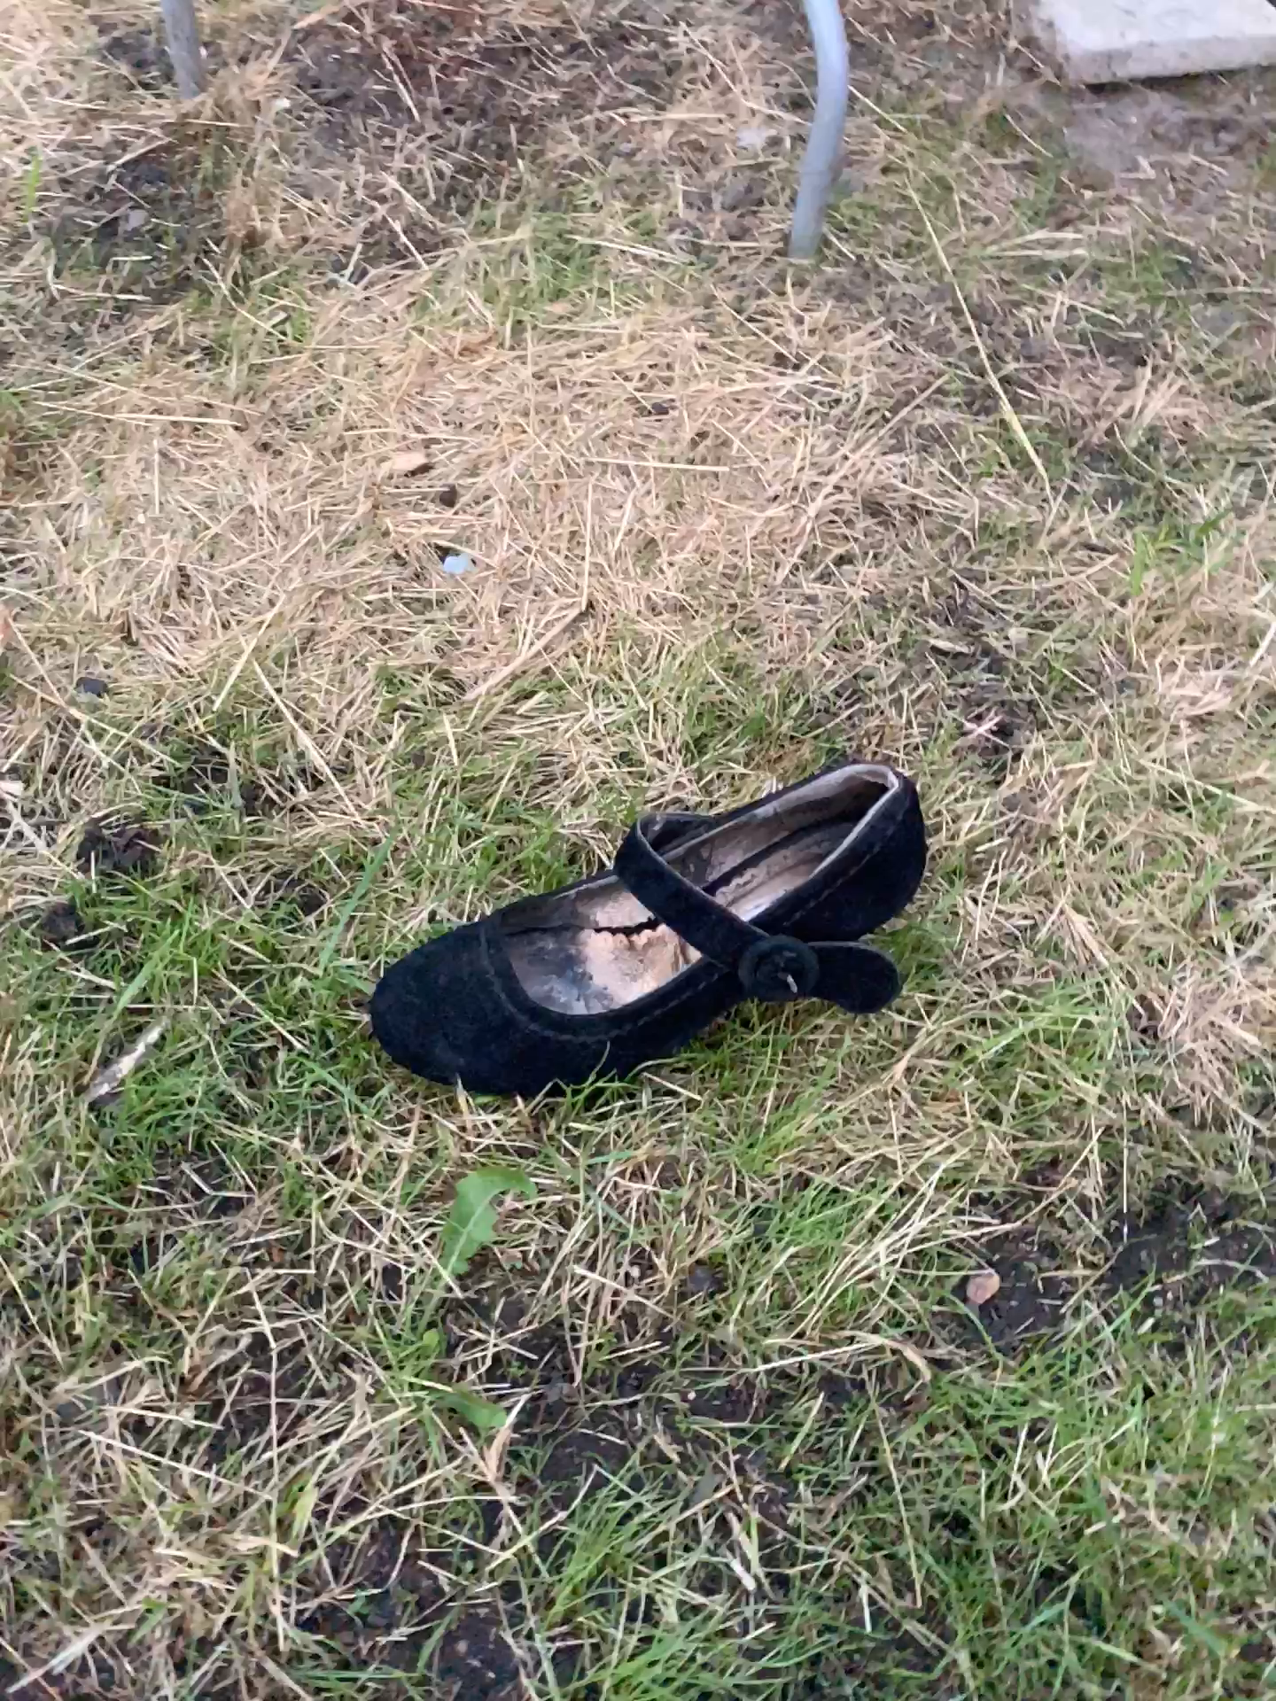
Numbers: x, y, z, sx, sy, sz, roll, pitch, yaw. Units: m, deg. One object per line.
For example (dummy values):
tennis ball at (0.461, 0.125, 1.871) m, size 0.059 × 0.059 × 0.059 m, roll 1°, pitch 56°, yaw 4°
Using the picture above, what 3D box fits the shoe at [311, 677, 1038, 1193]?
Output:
shoe at (0.011, 0.032, 0.531) m, size 0.250 × 0.109 × 0.111 m, roll -15°, pitch 60°, yaw -14°
